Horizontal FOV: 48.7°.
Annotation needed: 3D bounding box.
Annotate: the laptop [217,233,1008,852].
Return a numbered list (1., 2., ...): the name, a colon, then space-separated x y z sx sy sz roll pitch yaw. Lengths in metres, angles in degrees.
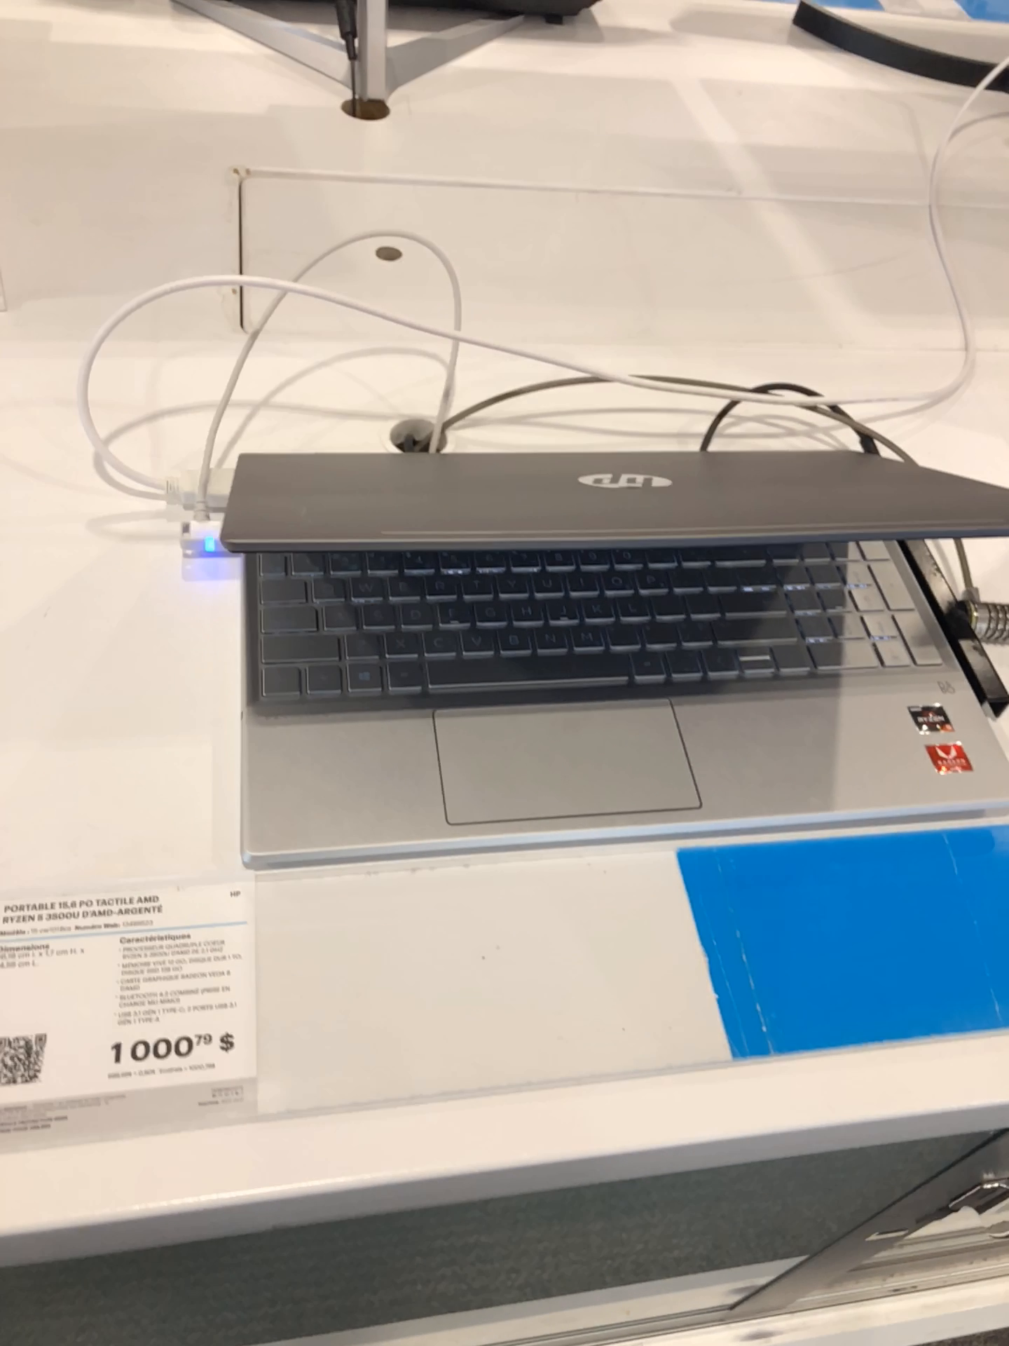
1. laptop: 0.058 -0.066 0.499 0.350 0.134 0.231 -2 52 -11
